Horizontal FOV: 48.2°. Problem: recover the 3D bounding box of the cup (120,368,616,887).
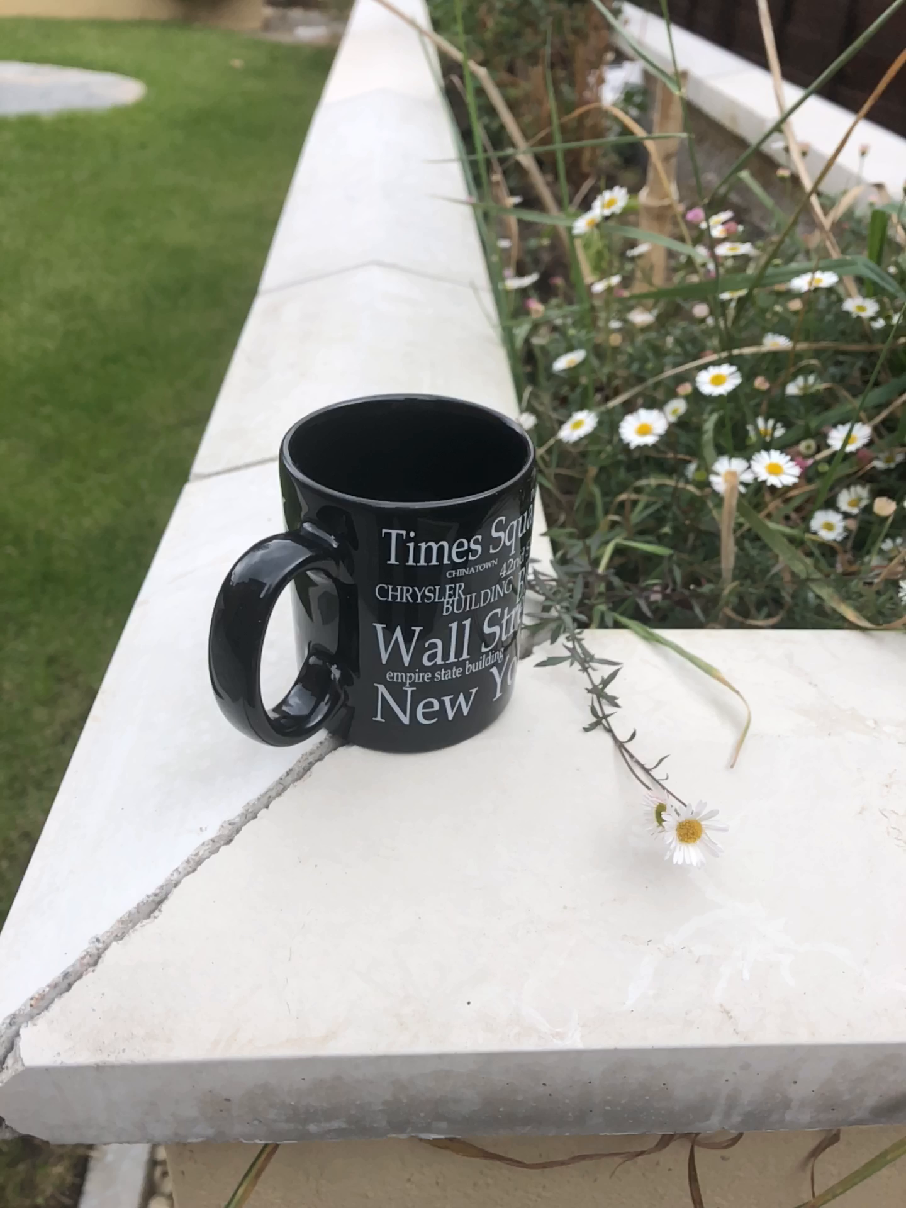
[{"bbox_3d":[-0.015,-0.001,0.233,0.060,0.069,0.090,24,40,29],"label":"cup"}]
